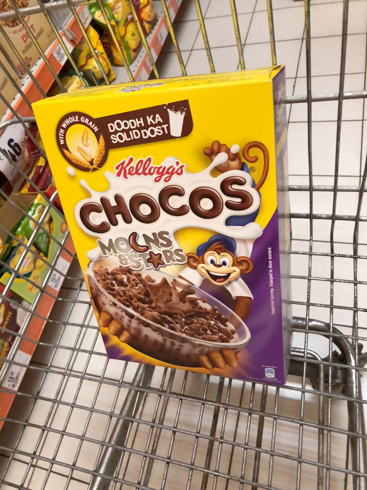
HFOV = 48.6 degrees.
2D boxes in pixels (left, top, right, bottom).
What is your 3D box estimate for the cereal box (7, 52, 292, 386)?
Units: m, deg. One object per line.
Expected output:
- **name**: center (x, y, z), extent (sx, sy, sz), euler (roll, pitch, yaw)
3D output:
- **cereal box**: center (-0.011, -0.013, 0.345), extent (0.190, 0.249, 0.070), euler (2, 28, 20)
